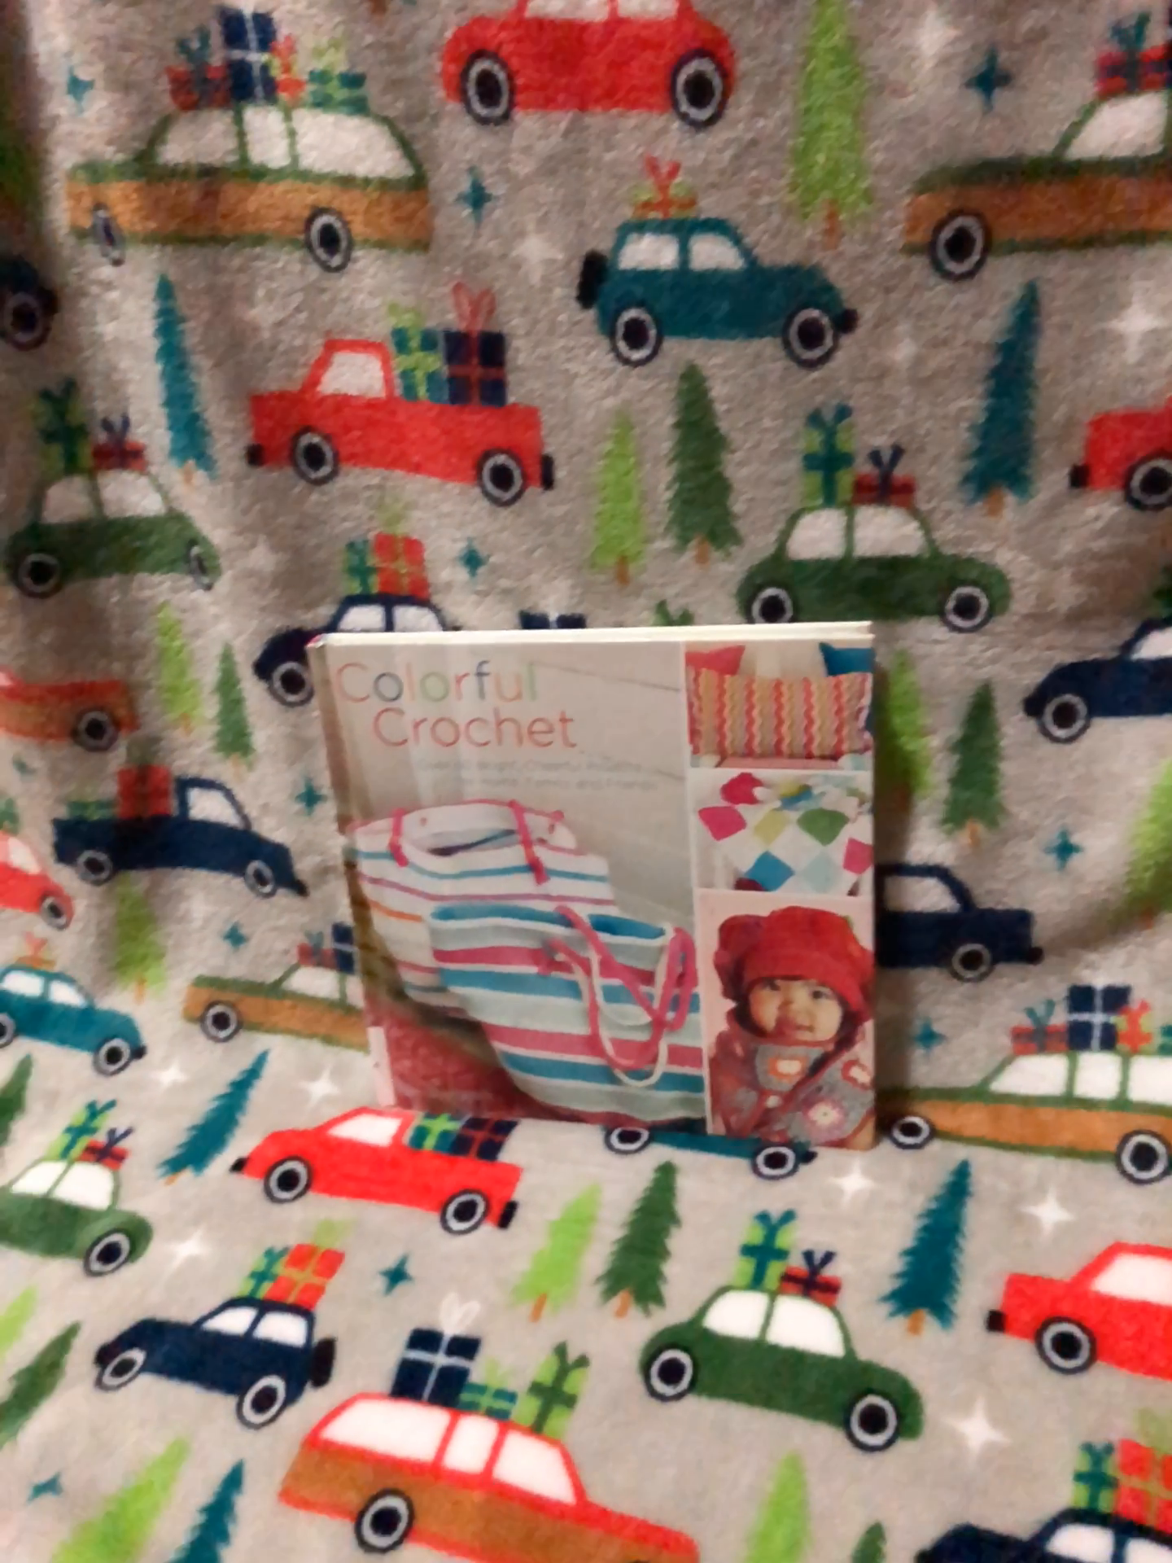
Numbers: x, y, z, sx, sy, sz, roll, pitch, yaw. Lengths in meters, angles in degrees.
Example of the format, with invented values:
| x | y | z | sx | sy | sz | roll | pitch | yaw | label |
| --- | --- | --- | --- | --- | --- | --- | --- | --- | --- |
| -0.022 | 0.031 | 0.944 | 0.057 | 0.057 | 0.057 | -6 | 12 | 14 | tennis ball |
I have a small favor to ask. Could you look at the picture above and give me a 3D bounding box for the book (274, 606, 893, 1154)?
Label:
| x | y | z | sx | sy | sz | roll | pitch | yaw | label |
| --- | --- | --- | --- | --- | --- | --- | --- | --- | --- |
| 0.007 | 0.042 | 0.473 | 0.202 | 0.214 | 0.020 | 1 | 30 | 13 | book |
